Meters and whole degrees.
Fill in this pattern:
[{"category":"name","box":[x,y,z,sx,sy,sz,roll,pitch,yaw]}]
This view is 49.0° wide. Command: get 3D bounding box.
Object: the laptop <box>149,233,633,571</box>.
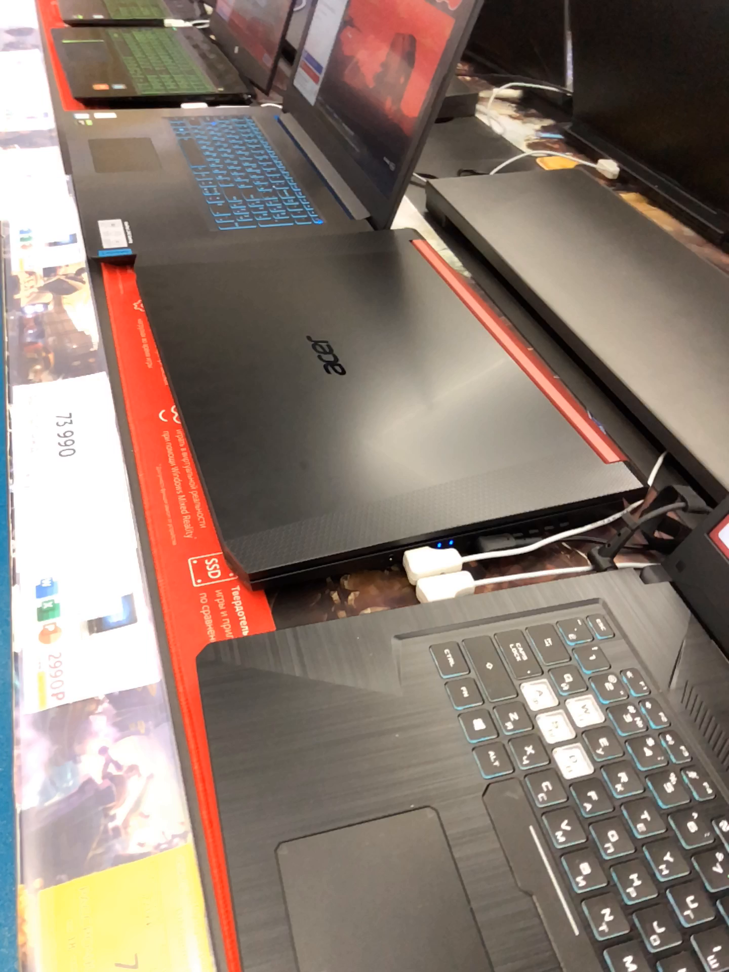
[{"category":"laptop","box":[-0.006,-0.098,0.609,0.255,0.002,0.371,-11,45,-17]}]
